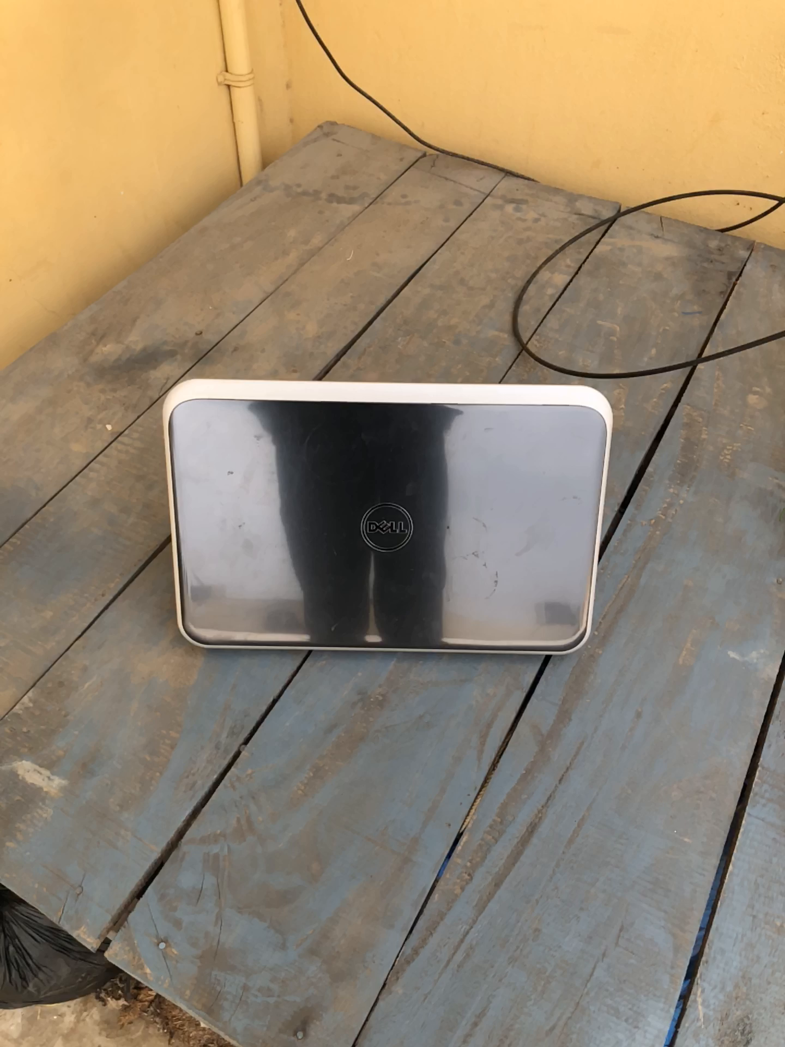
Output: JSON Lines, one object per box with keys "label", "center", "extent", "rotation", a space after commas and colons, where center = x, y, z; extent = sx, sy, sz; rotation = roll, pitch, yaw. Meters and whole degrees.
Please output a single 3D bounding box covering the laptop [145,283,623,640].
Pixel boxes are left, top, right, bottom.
{"label": "laptop", "center": [-0.002, -0.053, 0.770], "extent": [0.347, 0.206, 0.217], "rotation": [1, 51, 1]}
